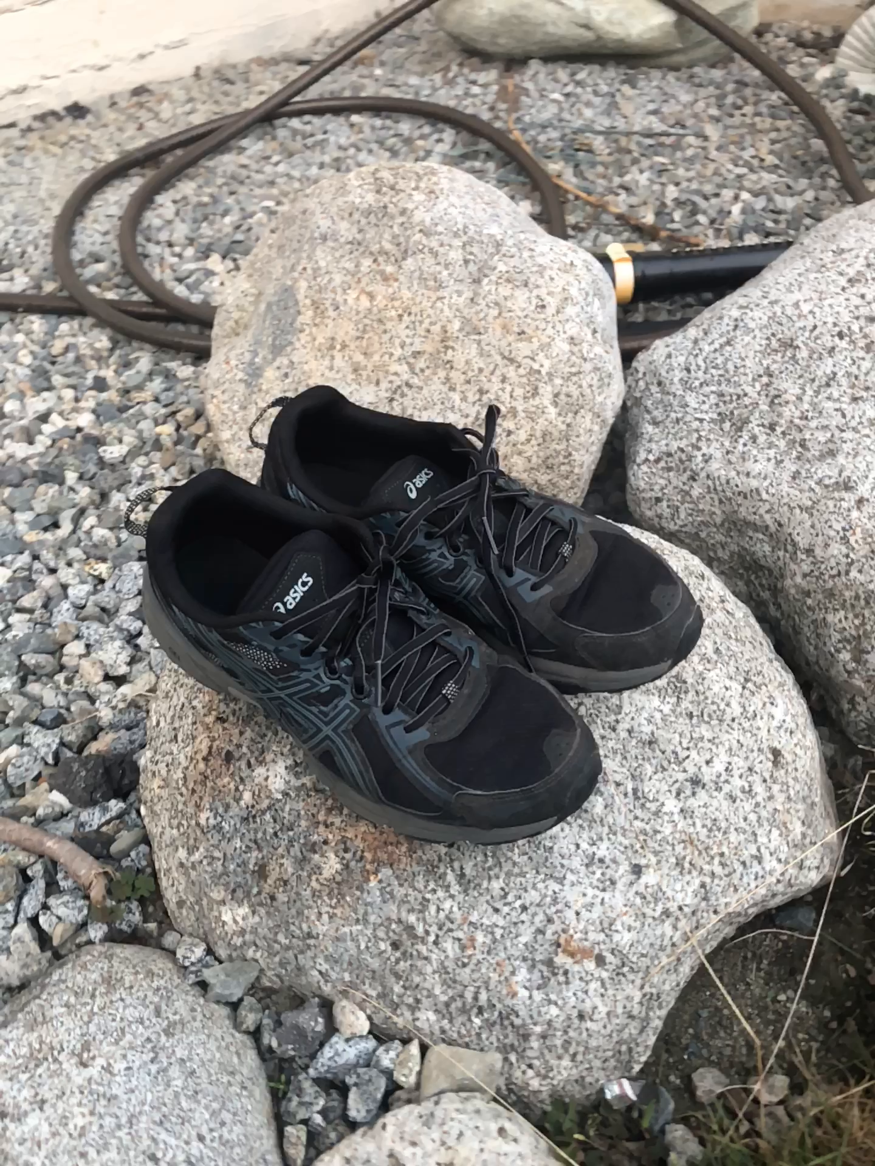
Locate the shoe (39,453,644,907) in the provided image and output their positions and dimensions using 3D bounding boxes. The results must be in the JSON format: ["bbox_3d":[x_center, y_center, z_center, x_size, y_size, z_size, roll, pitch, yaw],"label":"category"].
[{"bbox_3d":[-0.050,0.037,0.508,0.281,0.099,0.121,18,49,24],"label":"shoe"}]

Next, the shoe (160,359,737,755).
[{"bbox_3d":[0.003,-0.027,0.552,0.291,0.099,0.121,18,49,24],"label":"shoe"}]
